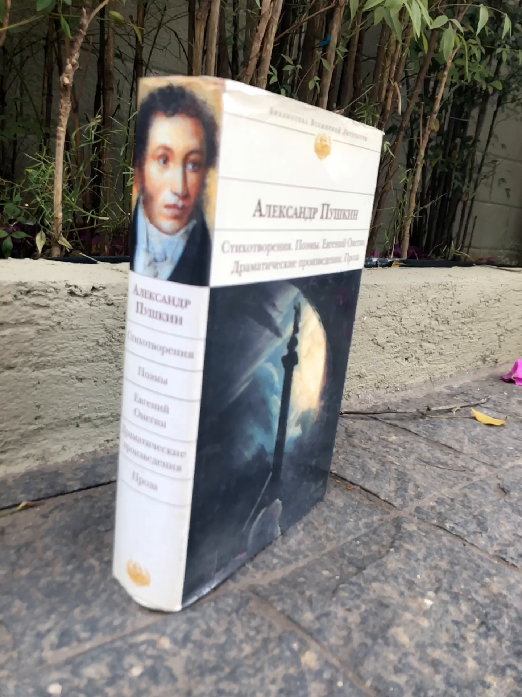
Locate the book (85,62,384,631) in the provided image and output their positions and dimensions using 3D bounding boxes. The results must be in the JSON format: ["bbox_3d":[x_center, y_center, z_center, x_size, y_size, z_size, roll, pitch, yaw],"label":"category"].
[{"bbox_3d":[-0.005,-0.006,0.276,0.050,0.204,0.150,13,15,30],"label":"book"}]
